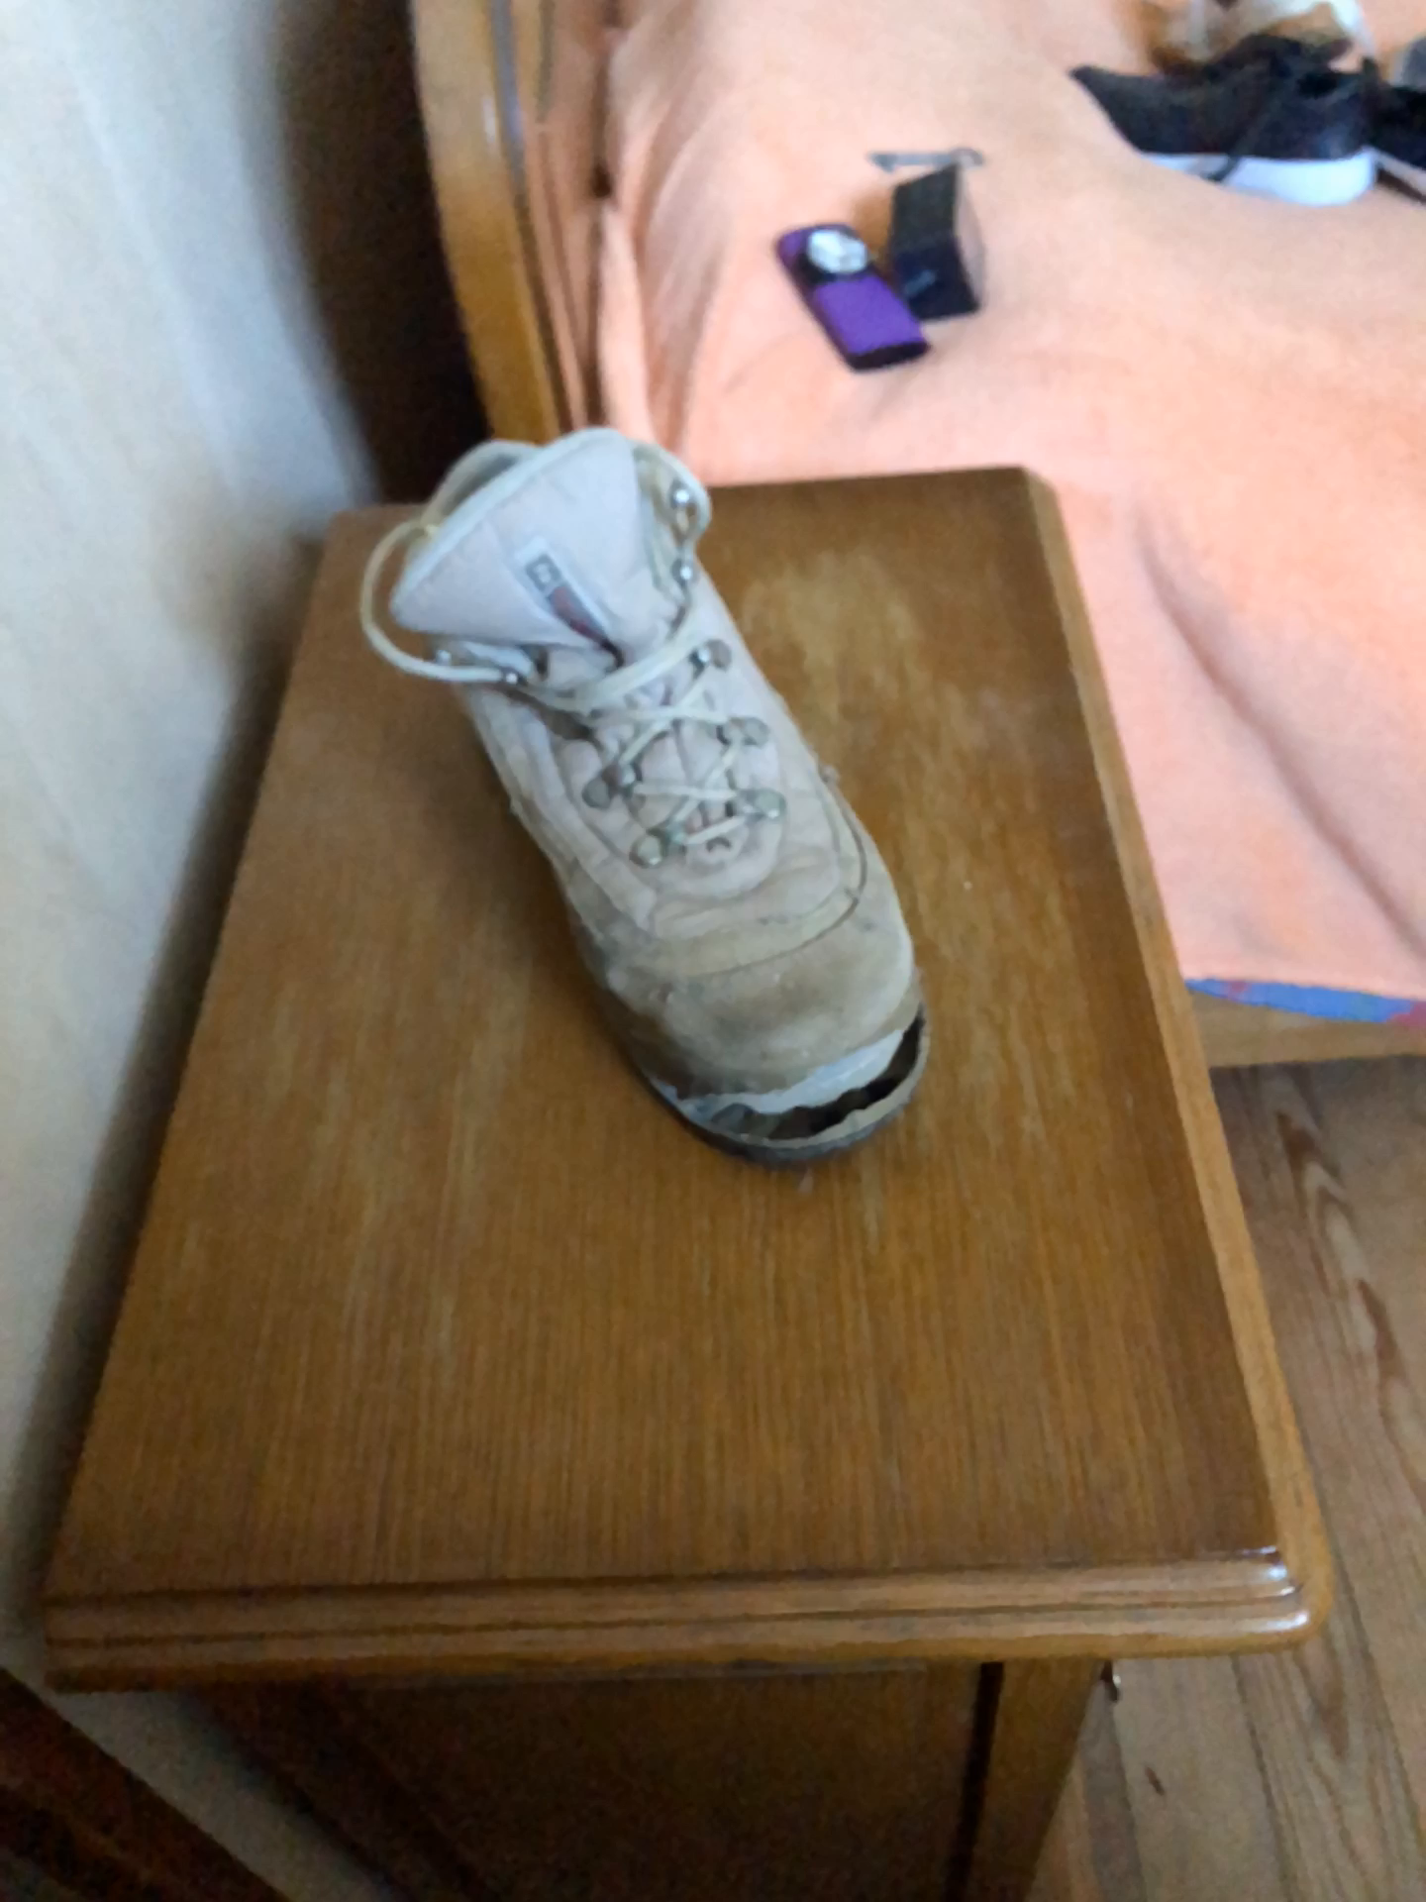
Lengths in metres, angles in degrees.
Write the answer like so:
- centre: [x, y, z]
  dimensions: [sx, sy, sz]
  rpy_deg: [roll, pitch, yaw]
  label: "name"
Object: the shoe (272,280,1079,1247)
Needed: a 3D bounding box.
- centre: [-0.024, -0.078, 0.517]
  dimensions: [0.130, 0.139, 0.291]
  rpy_deg: [-23, 49, -13]
  label: "shoe"
